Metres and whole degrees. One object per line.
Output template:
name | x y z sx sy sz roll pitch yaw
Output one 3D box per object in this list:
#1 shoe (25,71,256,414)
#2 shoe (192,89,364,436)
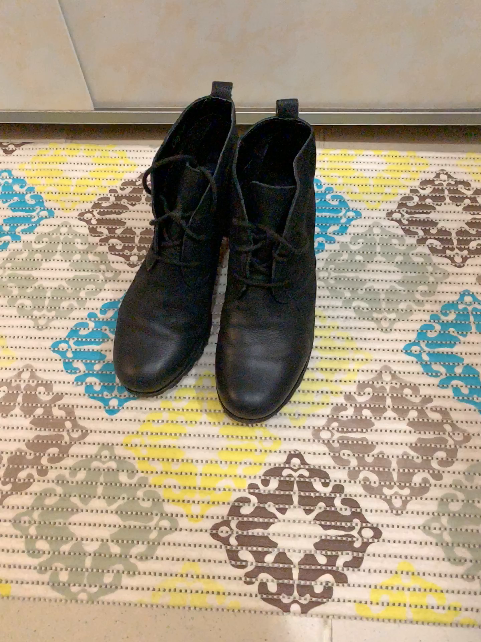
shoe | -0.060 -0.062 0.419 0.090 0.150 0.230 14 65 7
shoe | 0.035 -0.043 0.405 0.090 0.150 0.230 8 65 5
